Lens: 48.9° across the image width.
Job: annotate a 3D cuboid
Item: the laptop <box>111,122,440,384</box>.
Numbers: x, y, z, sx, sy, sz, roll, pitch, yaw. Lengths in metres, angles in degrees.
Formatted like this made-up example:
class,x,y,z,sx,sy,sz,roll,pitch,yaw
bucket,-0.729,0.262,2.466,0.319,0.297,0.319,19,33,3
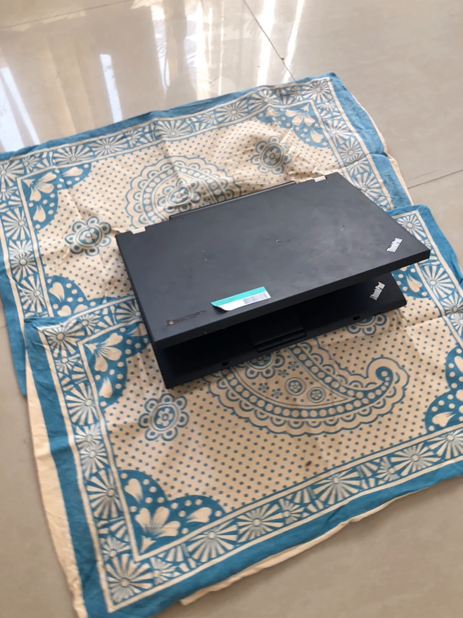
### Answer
class,x,y,z,sx,sy,sz,roll,pitch,yaw
laptop,0.041,-0.079,0.701,0.348,0.125,0.241,-18,66,-6
